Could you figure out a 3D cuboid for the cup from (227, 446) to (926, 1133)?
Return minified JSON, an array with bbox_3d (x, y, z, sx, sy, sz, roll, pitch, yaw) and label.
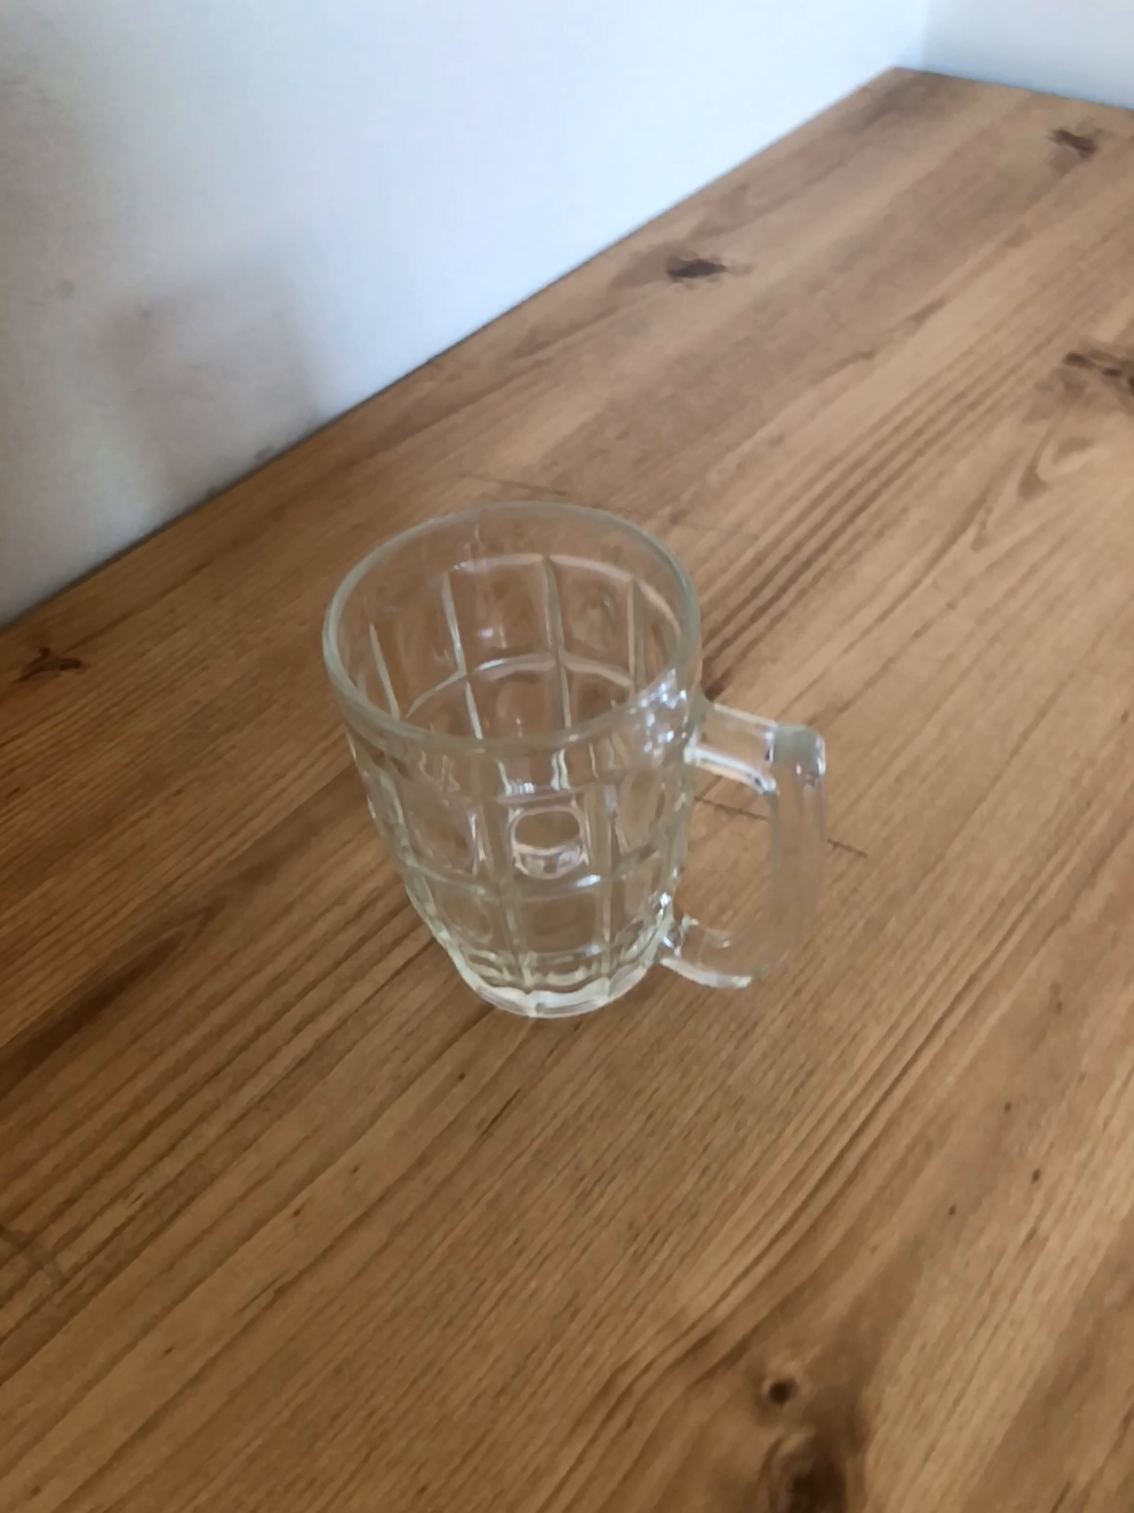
[{"bbox_3d":[0.008,0.005,0.299,0.120,0.102,0.089,18,53,23],"label":"cup"}]
